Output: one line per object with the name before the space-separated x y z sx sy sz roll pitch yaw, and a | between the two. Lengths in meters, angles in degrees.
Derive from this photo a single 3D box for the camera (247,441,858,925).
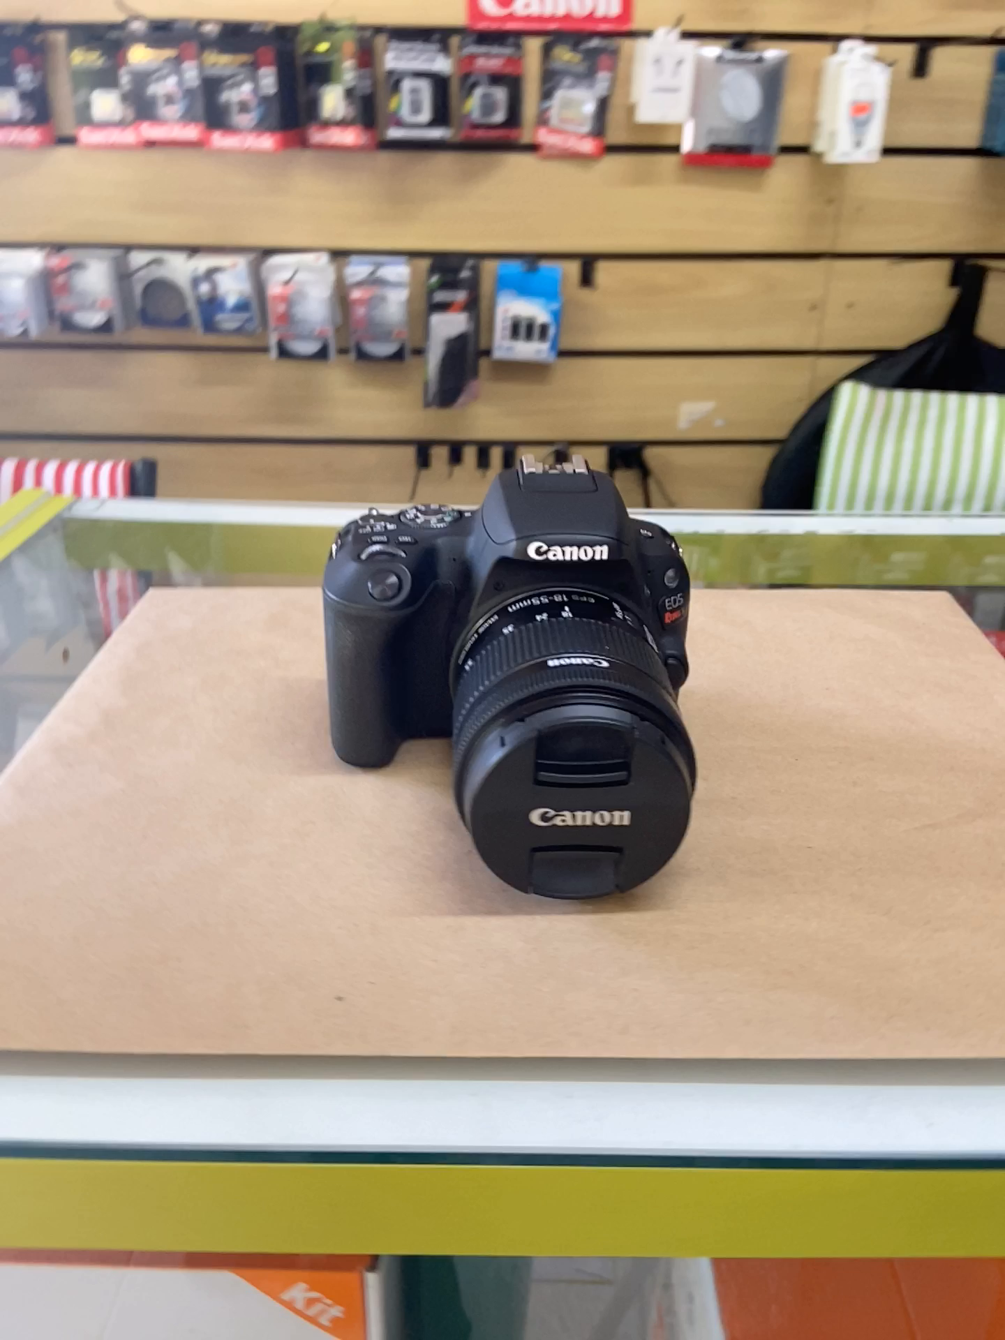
camera | 0.008 -0.006 0.314 0.140 0.089 0.131 -2 27 -4
